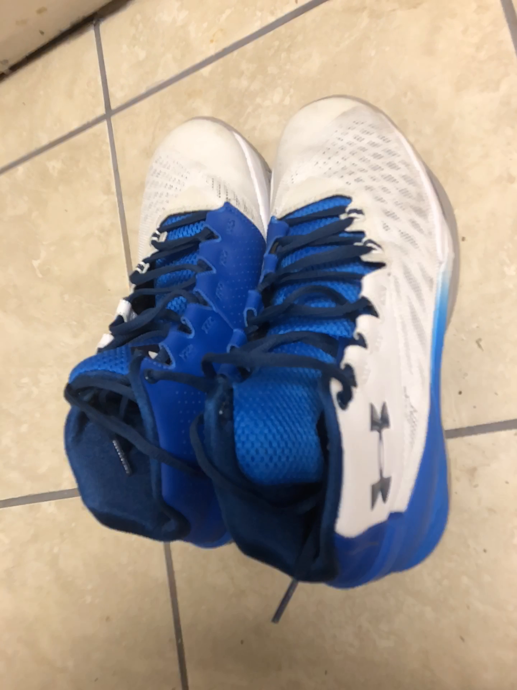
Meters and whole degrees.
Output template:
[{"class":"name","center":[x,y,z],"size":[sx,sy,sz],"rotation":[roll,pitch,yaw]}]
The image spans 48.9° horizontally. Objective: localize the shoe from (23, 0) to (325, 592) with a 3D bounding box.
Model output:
[{"class":"shoe","center":[-0.055,-0.023,0.359],"size":[0.120,0.100,0.310],"rotation":[-12,81,27]}]

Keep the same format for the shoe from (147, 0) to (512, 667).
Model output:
[{"class":"shoe","center":[0.038,-0.032,0.306],"size":[0.120,0.129,0.322],"rotation":[-11,78,27]}]
